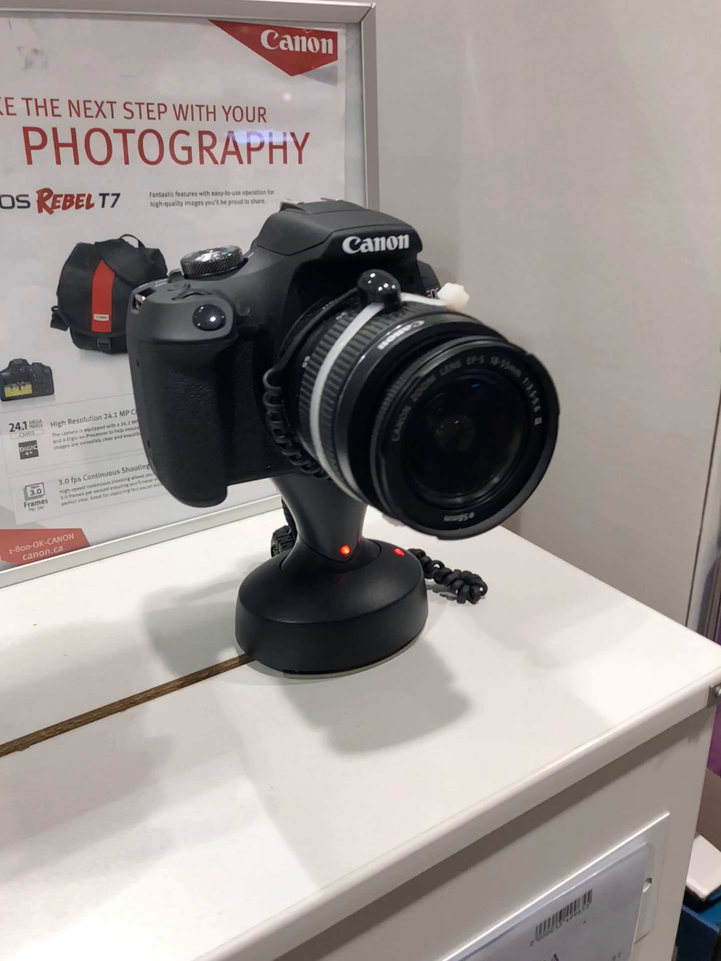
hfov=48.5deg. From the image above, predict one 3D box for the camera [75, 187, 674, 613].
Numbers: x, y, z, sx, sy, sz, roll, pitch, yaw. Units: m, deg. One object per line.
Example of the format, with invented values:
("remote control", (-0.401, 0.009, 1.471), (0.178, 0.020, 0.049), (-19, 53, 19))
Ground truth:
("camera", (-0.003, -0.046, 0.273), (0.140, 0.090, 0.140), (-14, 26, -26))
